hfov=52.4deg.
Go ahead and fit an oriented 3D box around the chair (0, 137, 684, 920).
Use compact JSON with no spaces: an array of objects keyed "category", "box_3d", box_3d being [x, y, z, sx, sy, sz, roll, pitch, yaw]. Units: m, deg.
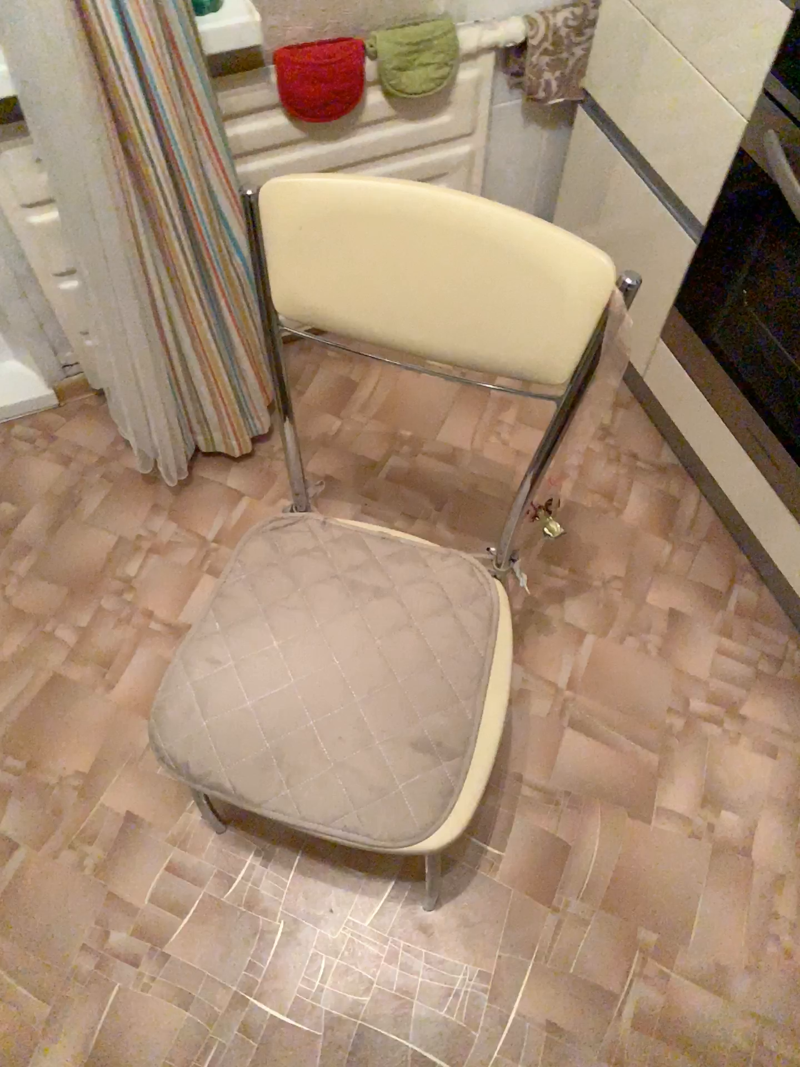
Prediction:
[{"category":"chair","box_3d":[-0.022,0.101,0.977,0.384,0.855,0.493,16,61,8]}]
